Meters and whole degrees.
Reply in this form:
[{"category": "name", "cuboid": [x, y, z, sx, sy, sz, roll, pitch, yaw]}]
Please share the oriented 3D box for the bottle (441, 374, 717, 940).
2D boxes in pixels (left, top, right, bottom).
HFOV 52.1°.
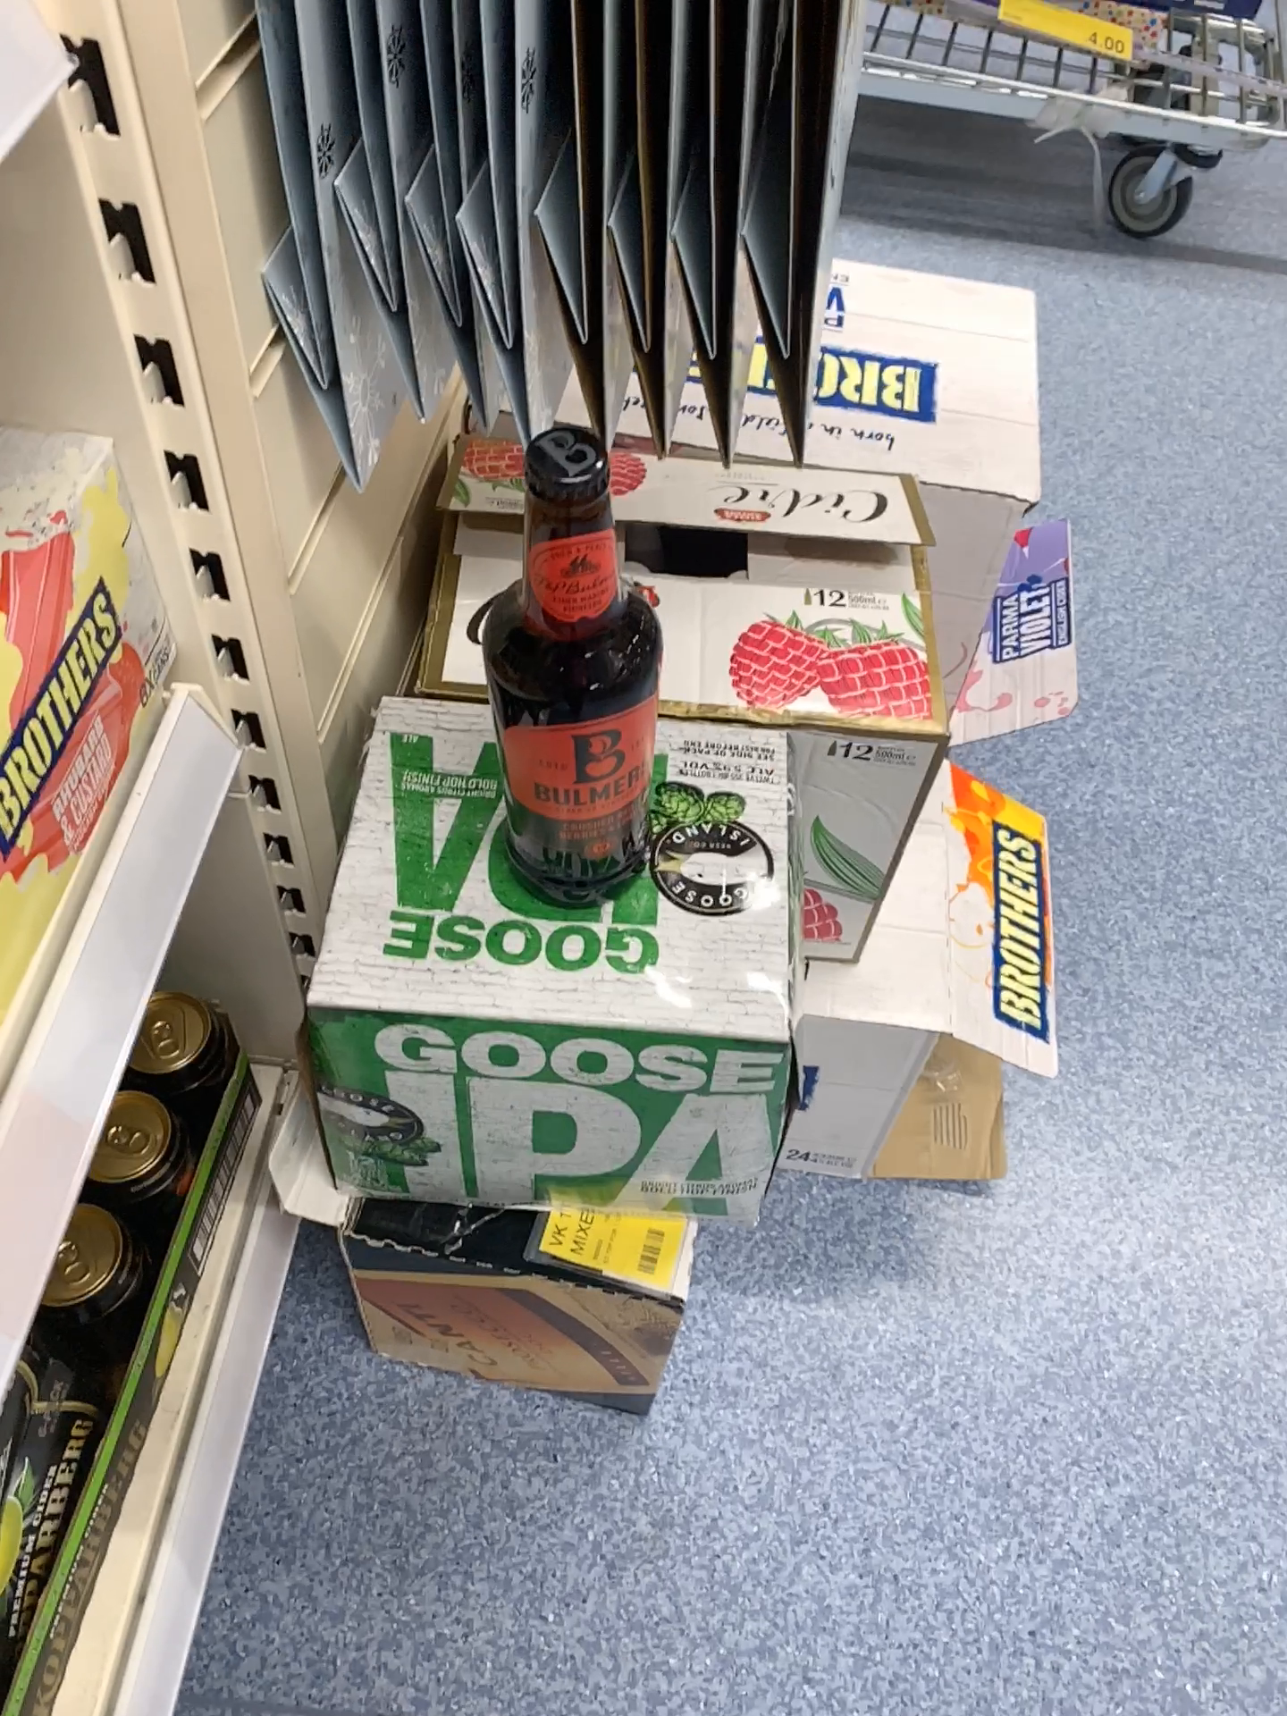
[{"category": "bottle", "cuboid": [-0.026, -0.067, 0.537, 0.070, 0.234, 0.070, 1, 55, -2]}]
